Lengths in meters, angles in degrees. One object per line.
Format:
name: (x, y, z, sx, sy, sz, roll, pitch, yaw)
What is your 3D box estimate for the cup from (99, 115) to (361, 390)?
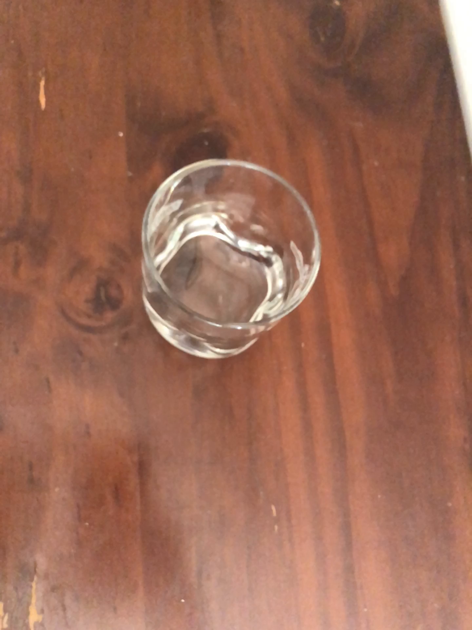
cup: (-0.006, -0.024, 0.260, 0.081, 0.081, 0.082, 2, 76, -10)
